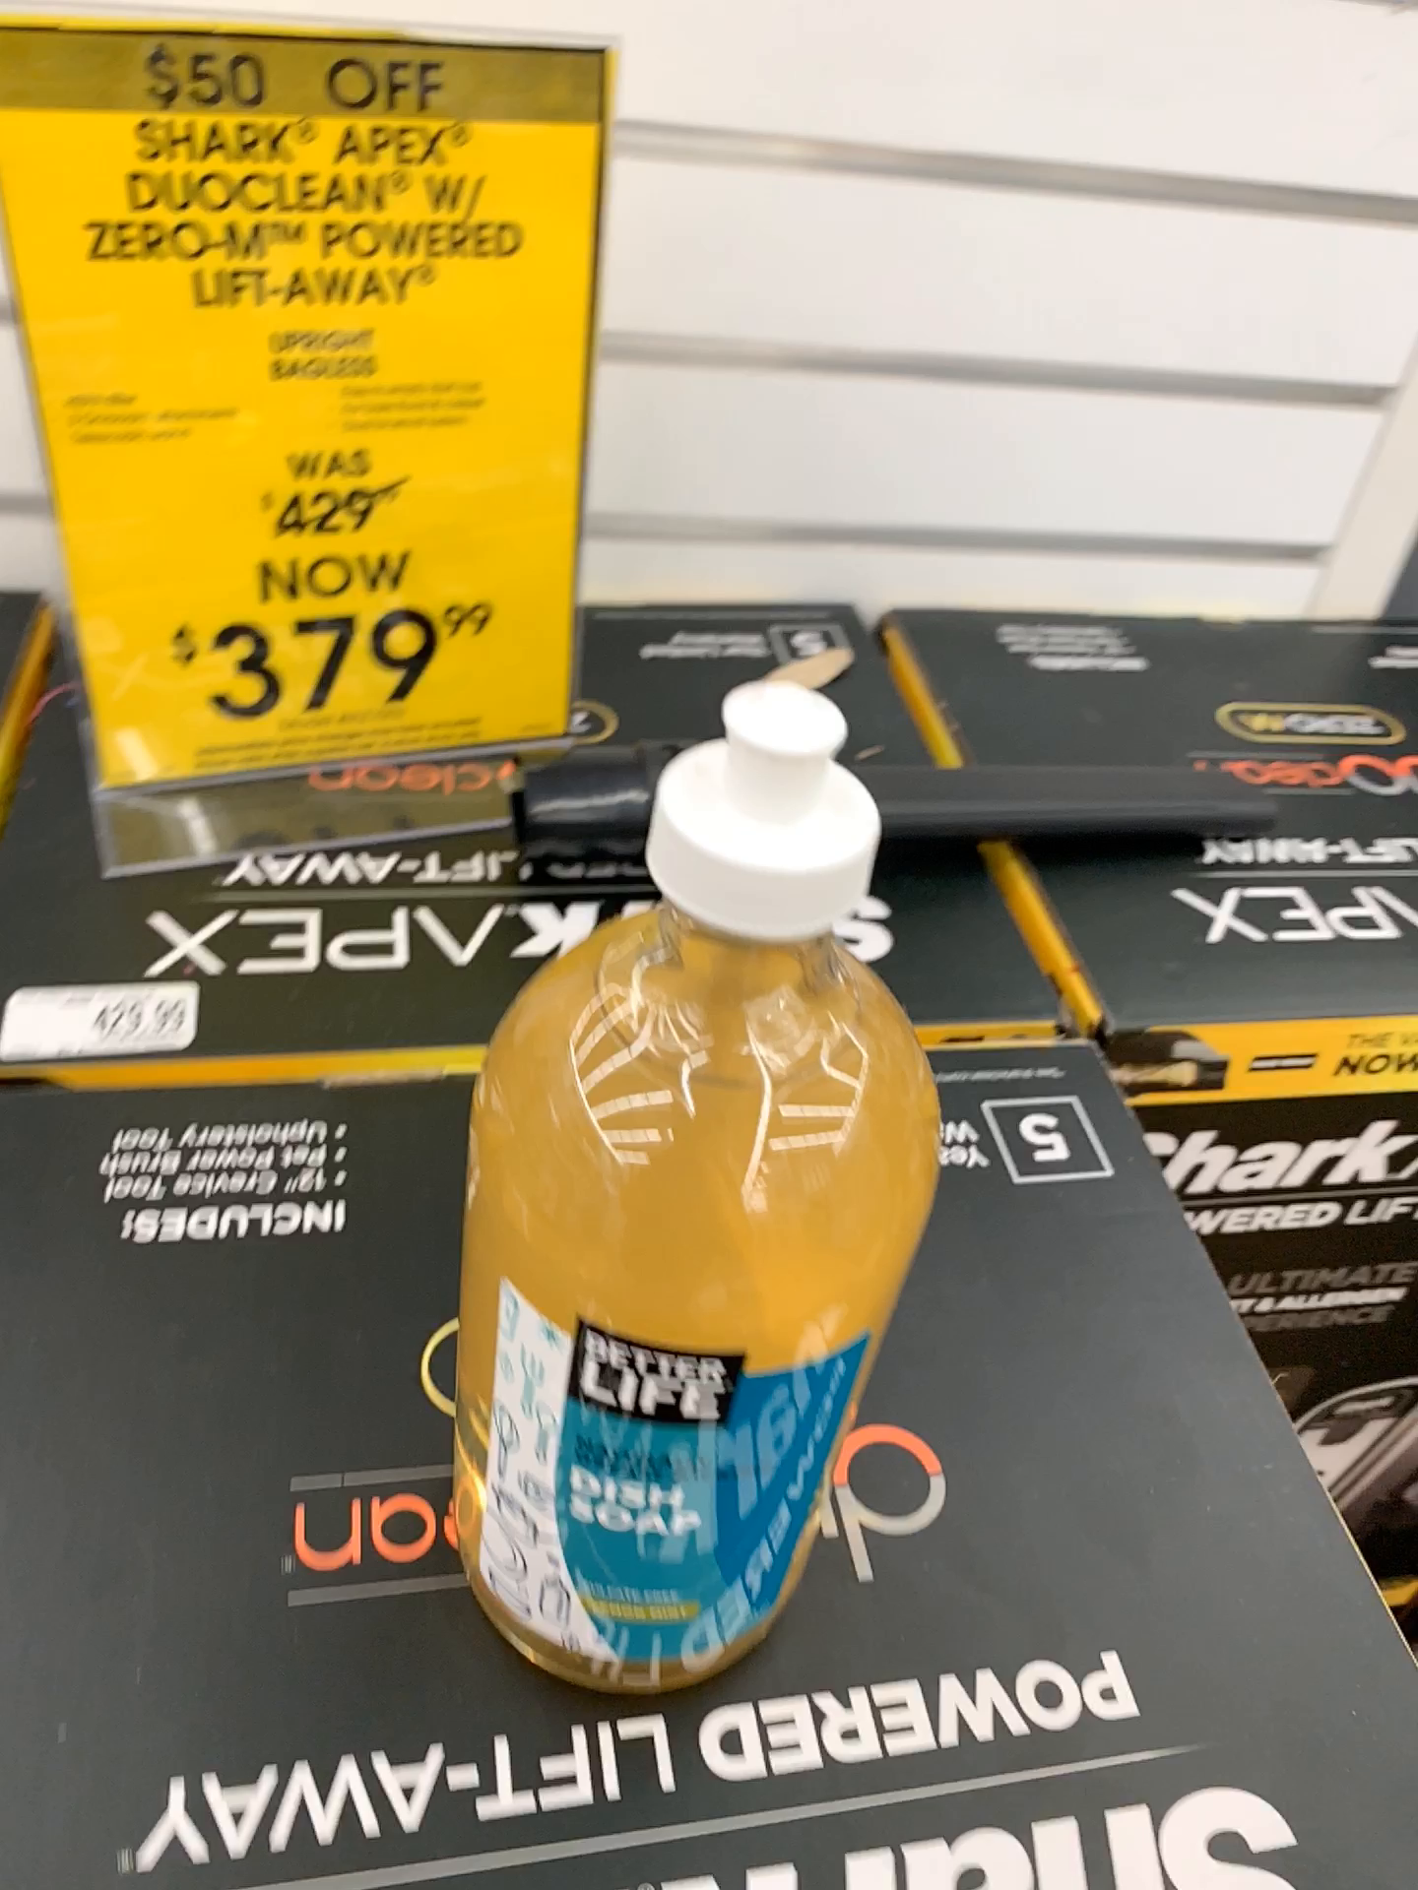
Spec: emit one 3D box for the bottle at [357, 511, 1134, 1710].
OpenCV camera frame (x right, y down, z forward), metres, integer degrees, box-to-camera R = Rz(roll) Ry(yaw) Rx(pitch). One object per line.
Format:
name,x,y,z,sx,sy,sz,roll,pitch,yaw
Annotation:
bottle,-0.005,0.044,0.271,0.090,0.209,0.090,5,40,-4
